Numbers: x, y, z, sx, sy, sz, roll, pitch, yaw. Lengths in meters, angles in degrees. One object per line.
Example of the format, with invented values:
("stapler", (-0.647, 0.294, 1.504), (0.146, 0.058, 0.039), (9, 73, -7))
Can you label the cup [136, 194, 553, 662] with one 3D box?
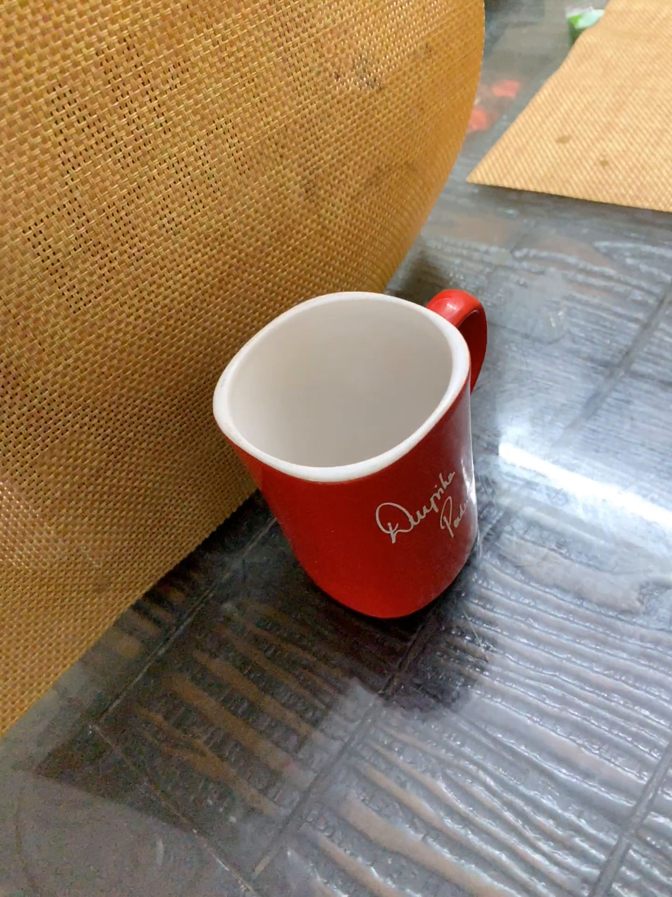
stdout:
("cup", (0.012, -0.008, 0.216), (0.070, 0.085, 0.096), (23, 61, 30))
